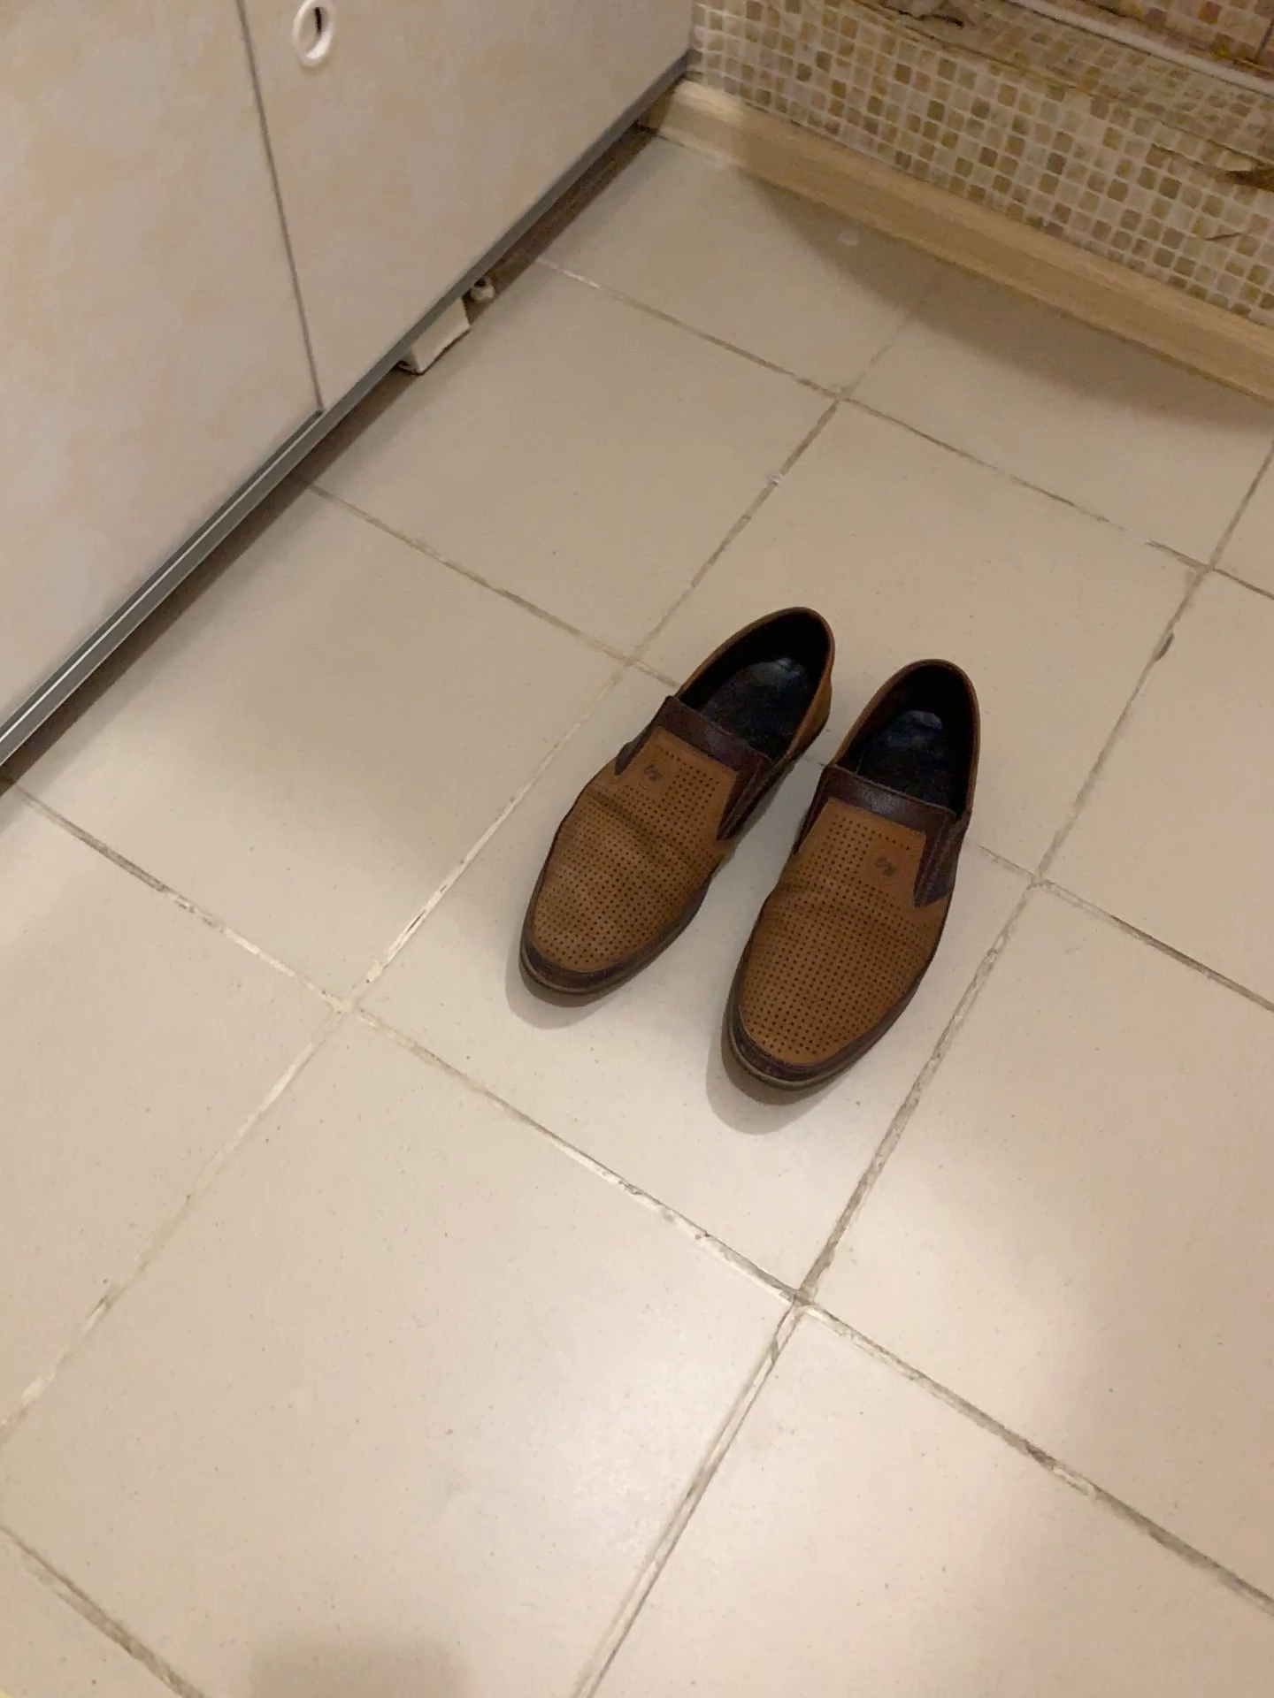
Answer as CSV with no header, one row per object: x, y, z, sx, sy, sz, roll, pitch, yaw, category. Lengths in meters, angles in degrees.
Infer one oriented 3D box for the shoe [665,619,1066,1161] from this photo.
0.135,0.017,0.755,0.110,0.090,0.290,26,64,11,shoe

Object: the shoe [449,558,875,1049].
0.020,-0.033,0.759,0.110,0.080,0.270,30,65,13,shoe
